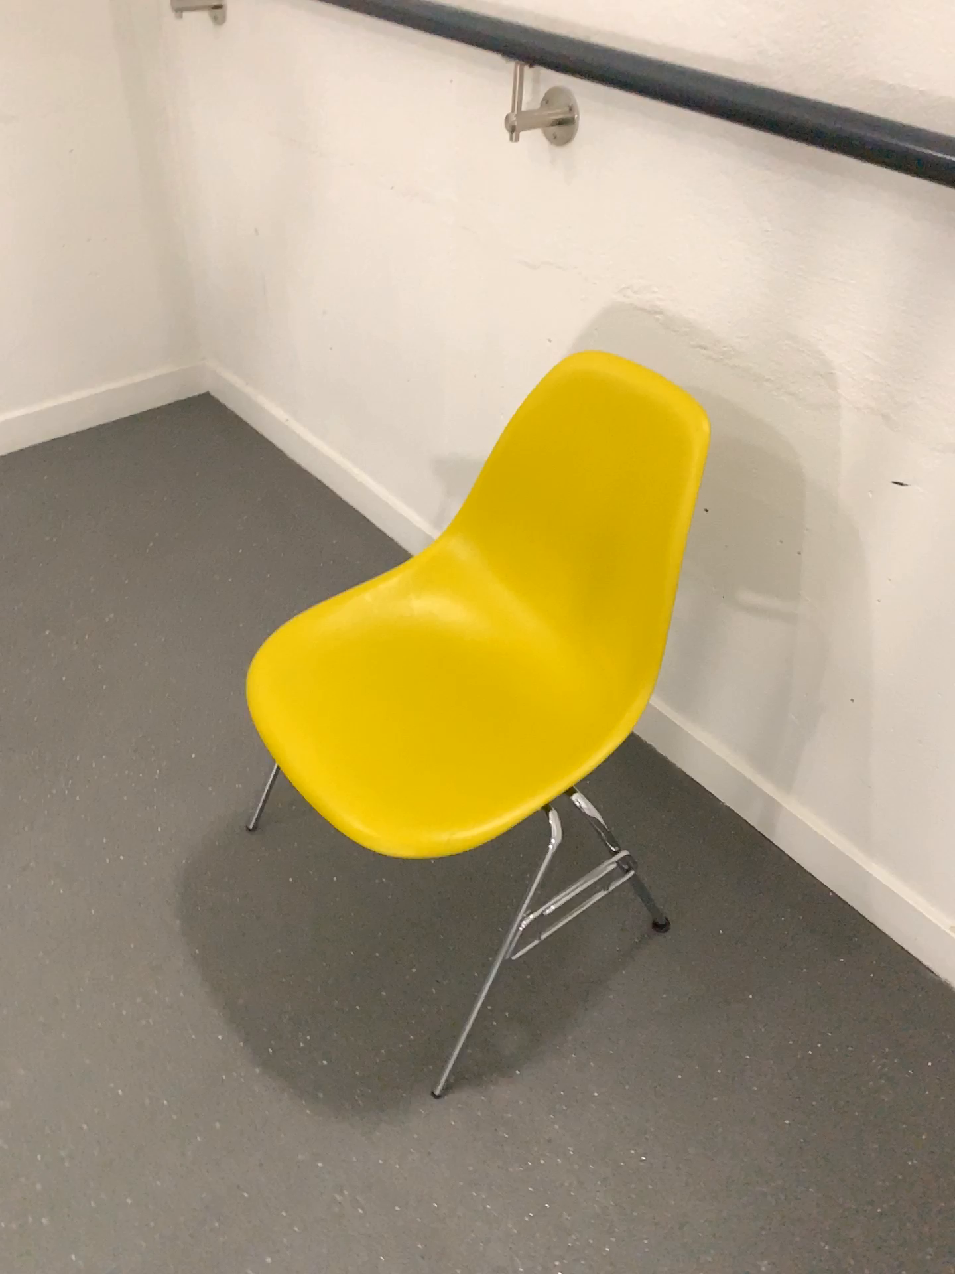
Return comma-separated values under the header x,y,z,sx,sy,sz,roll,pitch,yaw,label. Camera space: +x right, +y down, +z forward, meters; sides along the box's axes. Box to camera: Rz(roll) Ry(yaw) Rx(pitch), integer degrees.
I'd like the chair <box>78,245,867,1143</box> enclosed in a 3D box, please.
x,y,z,sx,sy,sz,roll,pitch,yaw,label
-0.041,0.051,1.271,0.542,0.822,0.634,-27,49,-31,chair
